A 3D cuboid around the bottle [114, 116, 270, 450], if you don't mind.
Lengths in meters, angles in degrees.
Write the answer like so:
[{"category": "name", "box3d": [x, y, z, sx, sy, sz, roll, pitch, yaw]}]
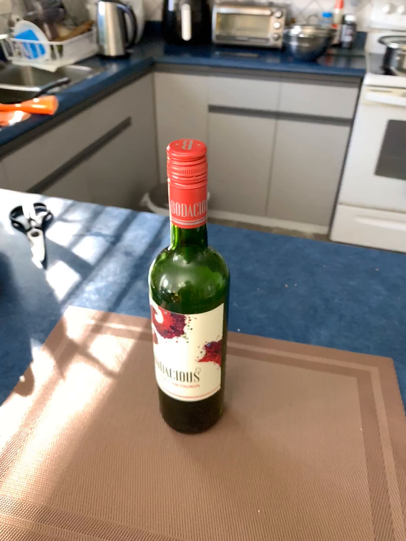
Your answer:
[{"category": "bottle", "box3d": [-0.007, 0.029, 0.382, 0.080, 0.297, 0.081, 0, 36, 0]}]
